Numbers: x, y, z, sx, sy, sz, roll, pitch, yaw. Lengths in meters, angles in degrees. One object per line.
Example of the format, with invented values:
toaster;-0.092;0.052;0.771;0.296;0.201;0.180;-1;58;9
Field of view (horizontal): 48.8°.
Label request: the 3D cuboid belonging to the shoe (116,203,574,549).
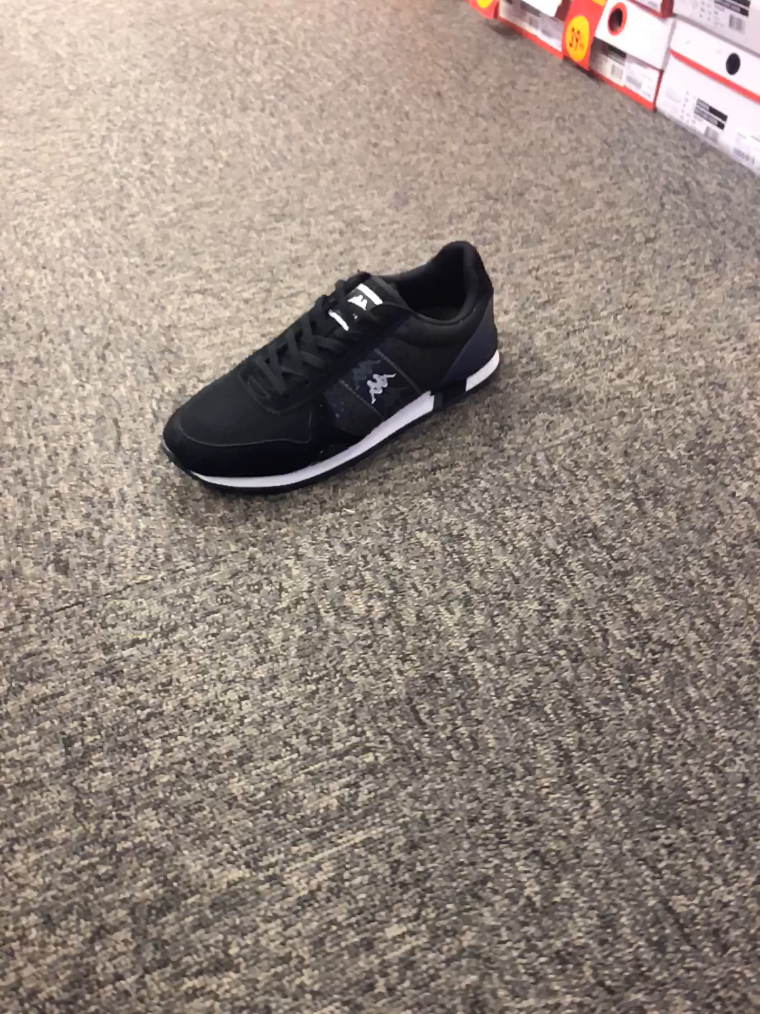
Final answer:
shoe;-0.015;-0.094;0.556;0.275;0.090;0.100;-28;52;-17
